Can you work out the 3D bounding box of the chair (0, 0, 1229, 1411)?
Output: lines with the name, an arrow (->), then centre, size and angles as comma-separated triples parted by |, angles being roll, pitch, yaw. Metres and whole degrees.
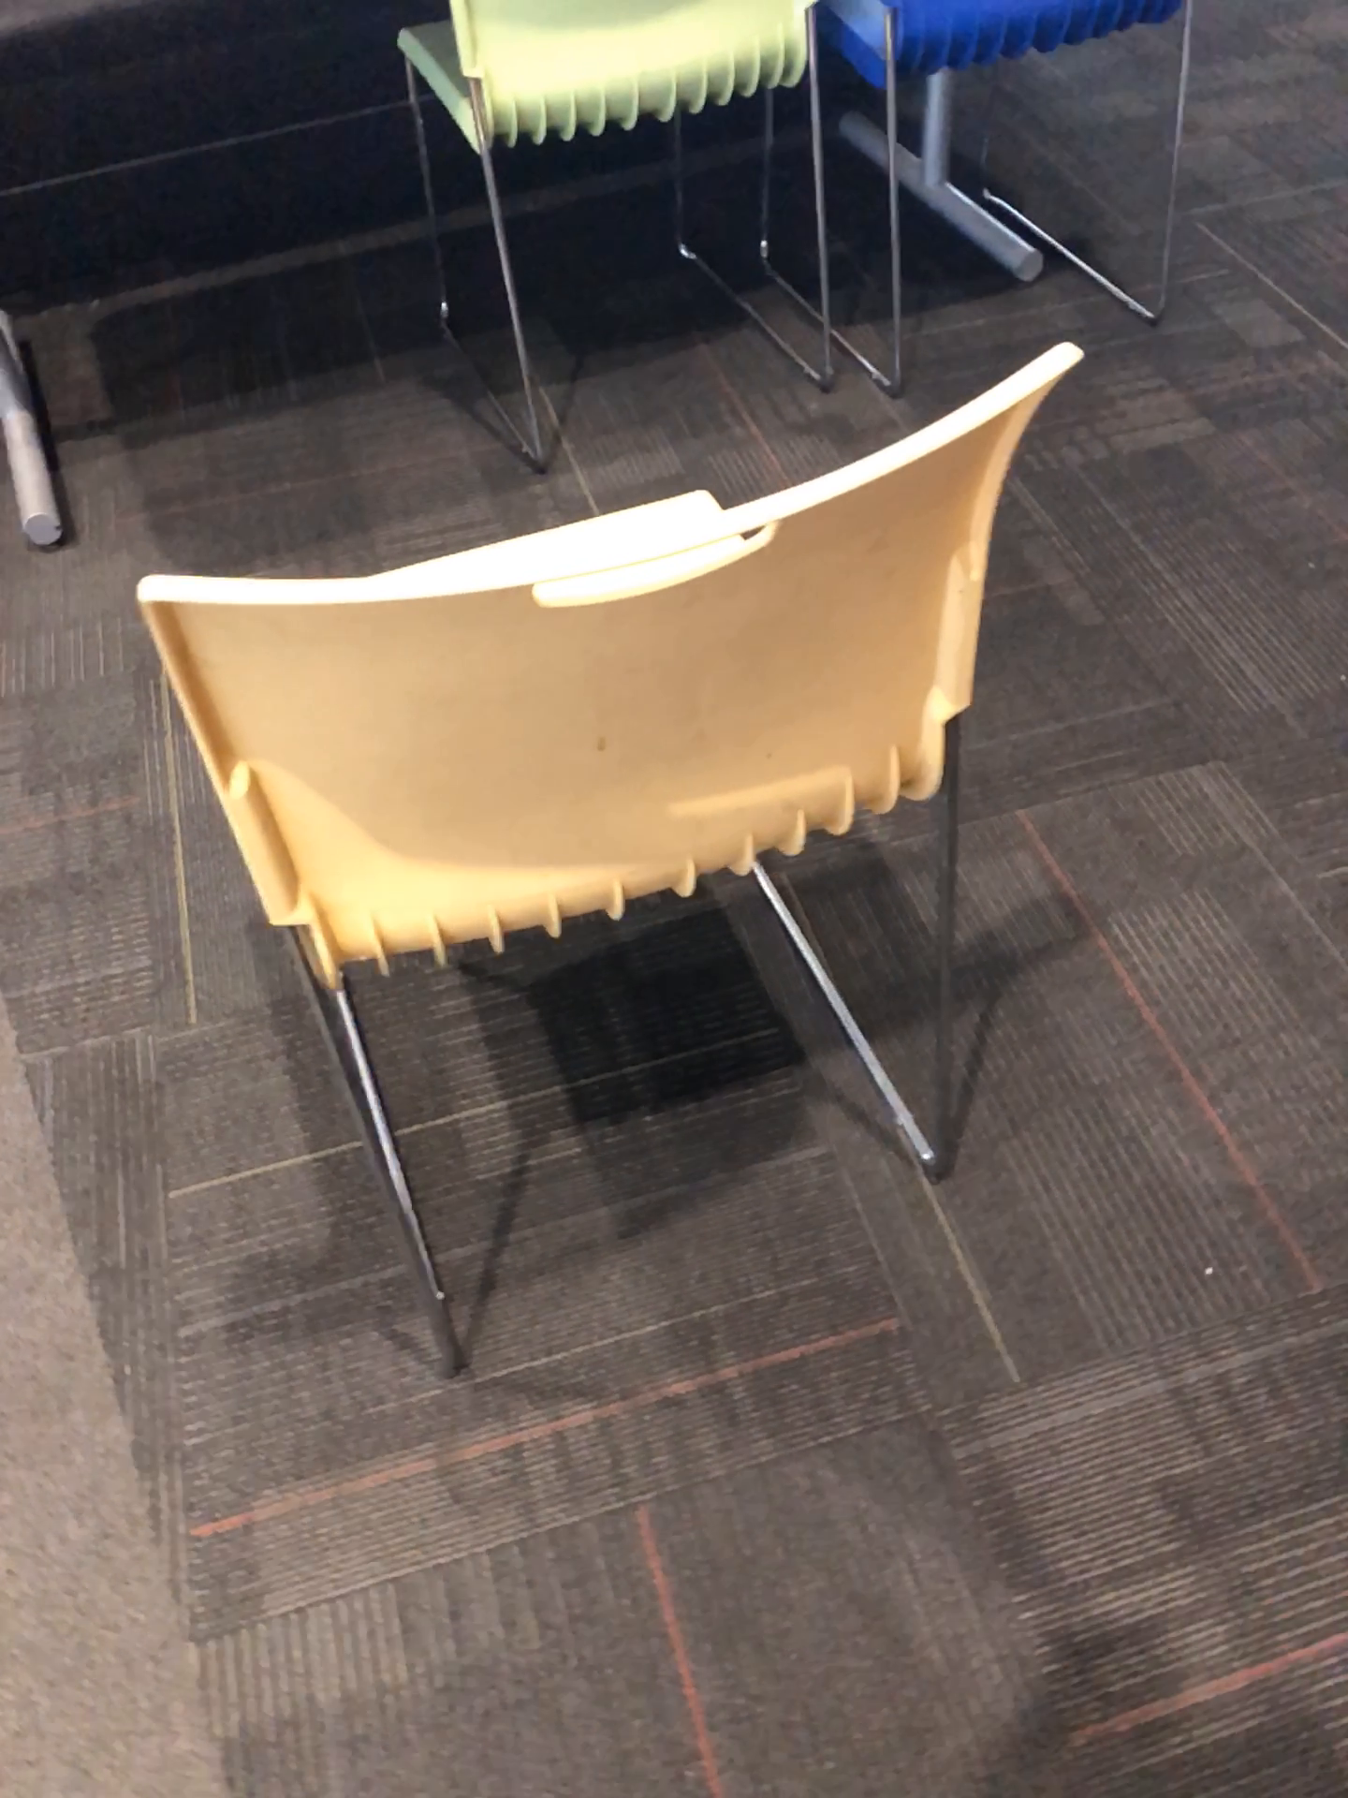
chair -> -0.080, -0.130, 1.104 | 0.570, 0.737, 0.562 | -17, 49, -11
